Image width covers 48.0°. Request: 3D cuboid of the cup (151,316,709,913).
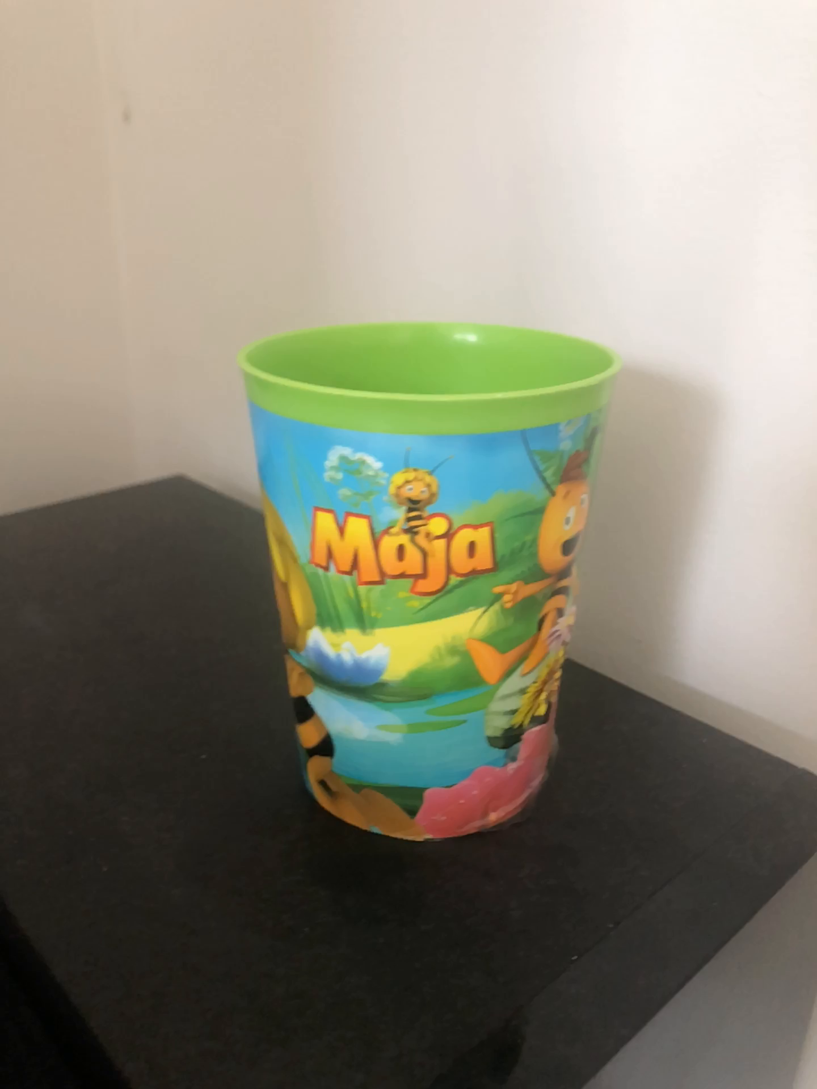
[{"bbox_3d":[0.004,0.004,0.202,0.080,0.090,0.080,1,22,0],"label":"cup"}]
